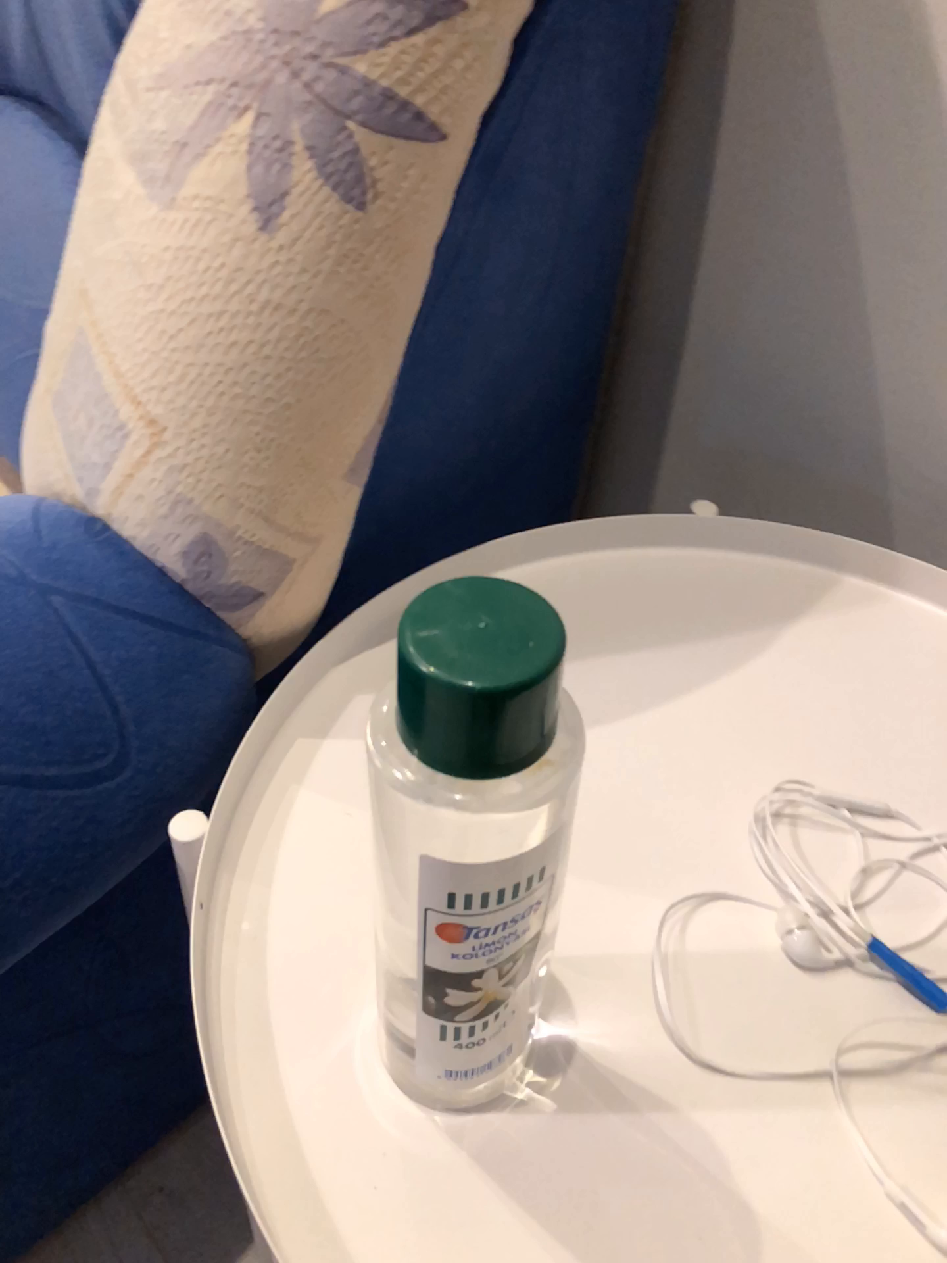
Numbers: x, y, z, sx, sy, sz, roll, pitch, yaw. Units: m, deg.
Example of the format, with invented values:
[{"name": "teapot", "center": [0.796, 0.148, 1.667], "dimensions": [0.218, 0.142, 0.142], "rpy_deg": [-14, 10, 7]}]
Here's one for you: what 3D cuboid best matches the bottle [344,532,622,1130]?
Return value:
[{"name": "bottle", "center": [-0.006, 0.070, 0.307], "dimensions": [0.051, 0.199, 0.060], "rpy_deg": [-7, 44, -12]}]
